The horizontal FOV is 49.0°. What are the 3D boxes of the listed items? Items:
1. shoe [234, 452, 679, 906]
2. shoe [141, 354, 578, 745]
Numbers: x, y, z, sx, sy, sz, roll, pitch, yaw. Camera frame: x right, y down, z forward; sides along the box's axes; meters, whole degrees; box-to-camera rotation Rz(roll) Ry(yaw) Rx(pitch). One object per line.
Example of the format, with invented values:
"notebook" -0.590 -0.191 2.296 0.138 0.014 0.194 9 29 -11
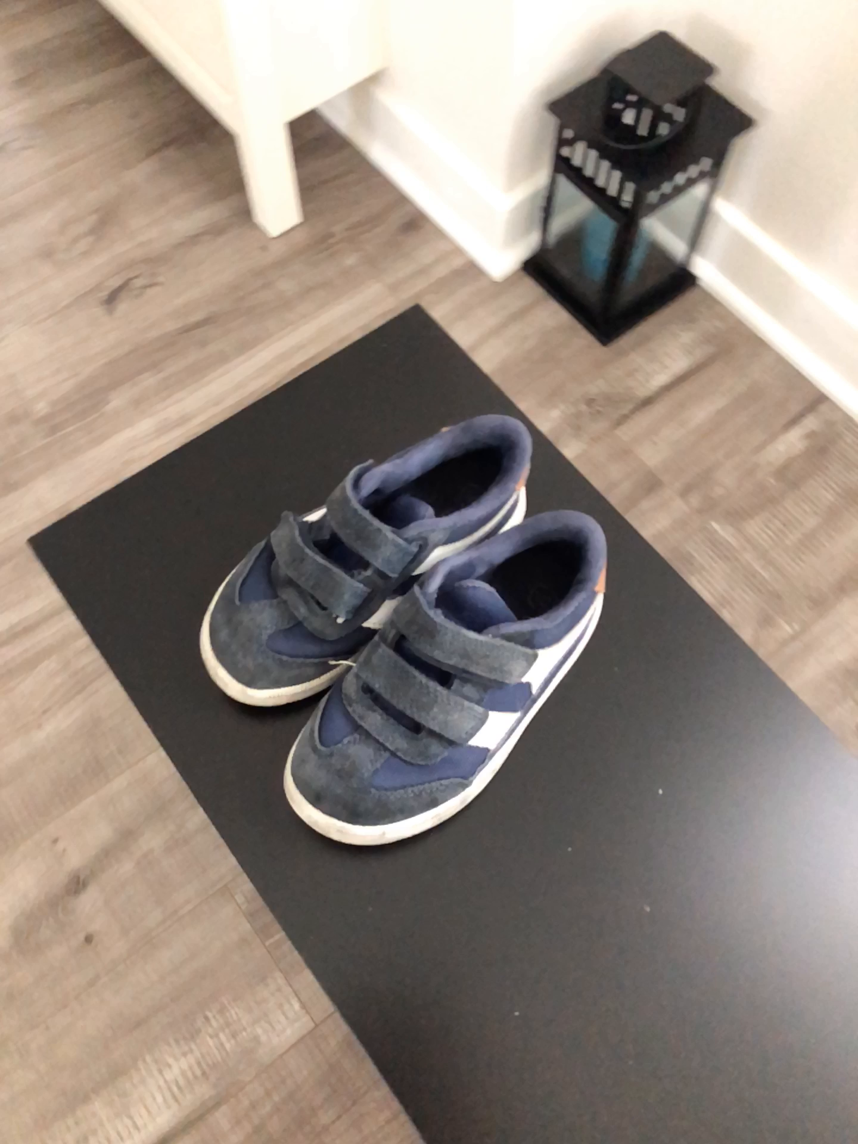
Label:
"shoe" 0.015 0.047 0.431 0.088 0.068 0.185 40 72 17
"shoe" -0.029 -0.012 0.457 0.185 0.068 0.082 -35 70 -14
